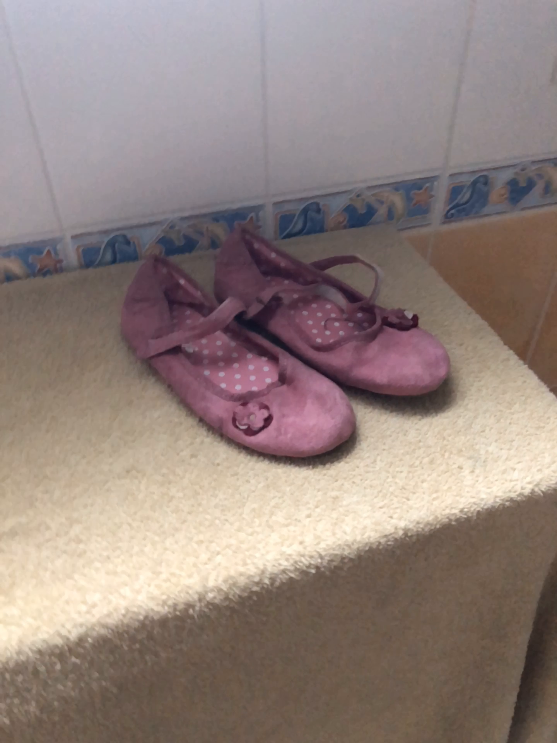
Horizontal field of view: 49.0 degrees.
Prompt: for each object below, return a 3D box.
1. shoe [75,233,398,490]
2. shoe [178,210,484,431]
[{"bbox_3d":[-0.040,-0.023,0.462,0.100,0.050,0.240,-34,51,-32],"label":"shoe"},{"bbox_3d":[0.033,-0.056,0.510,0.100,0.050,0.240,-34,51,-32],"label":"shoe"}]
